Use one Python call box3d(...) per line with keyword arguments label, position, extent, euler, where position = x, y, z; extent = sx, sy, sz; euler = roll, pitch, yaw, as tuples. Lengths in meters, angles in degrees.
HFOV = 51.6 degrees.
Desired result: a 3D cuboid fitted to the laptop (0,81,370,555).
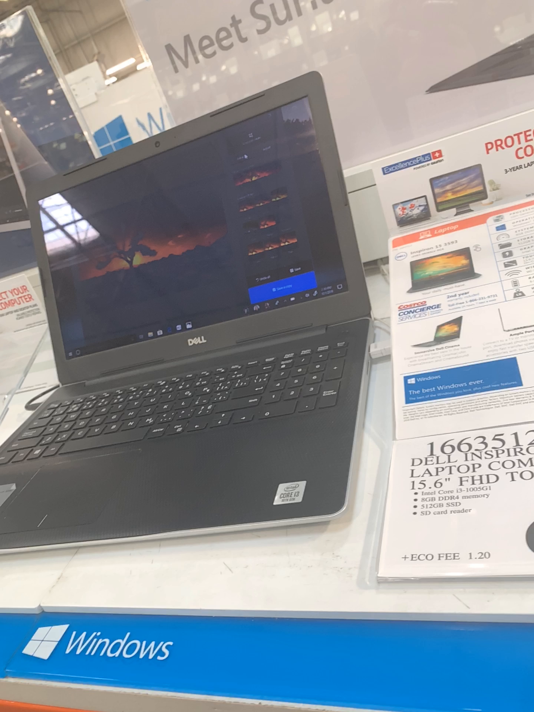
box3d(label="laptop", position=(-0.126, -0.052, 0.465), extent=(0.357, 0.205, 0.343), euler=(-12, 25, 20))
